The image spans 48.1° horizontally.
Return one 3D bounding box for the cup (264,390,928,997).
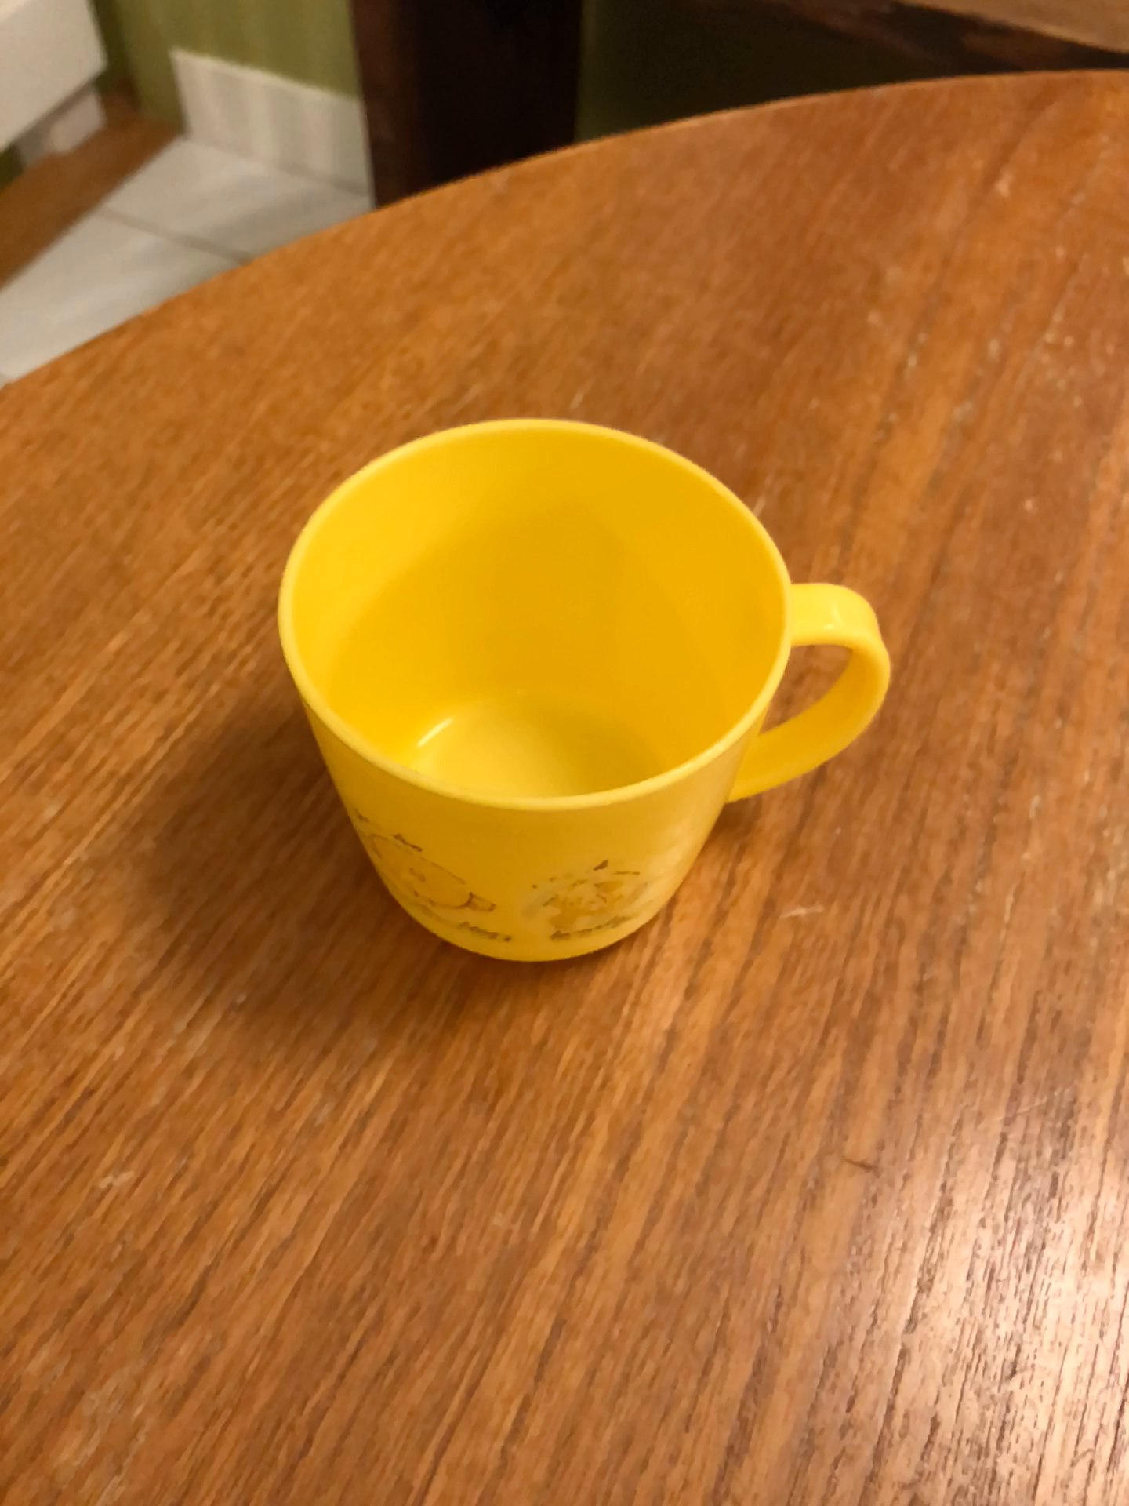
[{"bbox_3d":[0.000,-0.011,0.234,0.097,0.064,0.081,-6,56,-6],"label":"cup"}]
